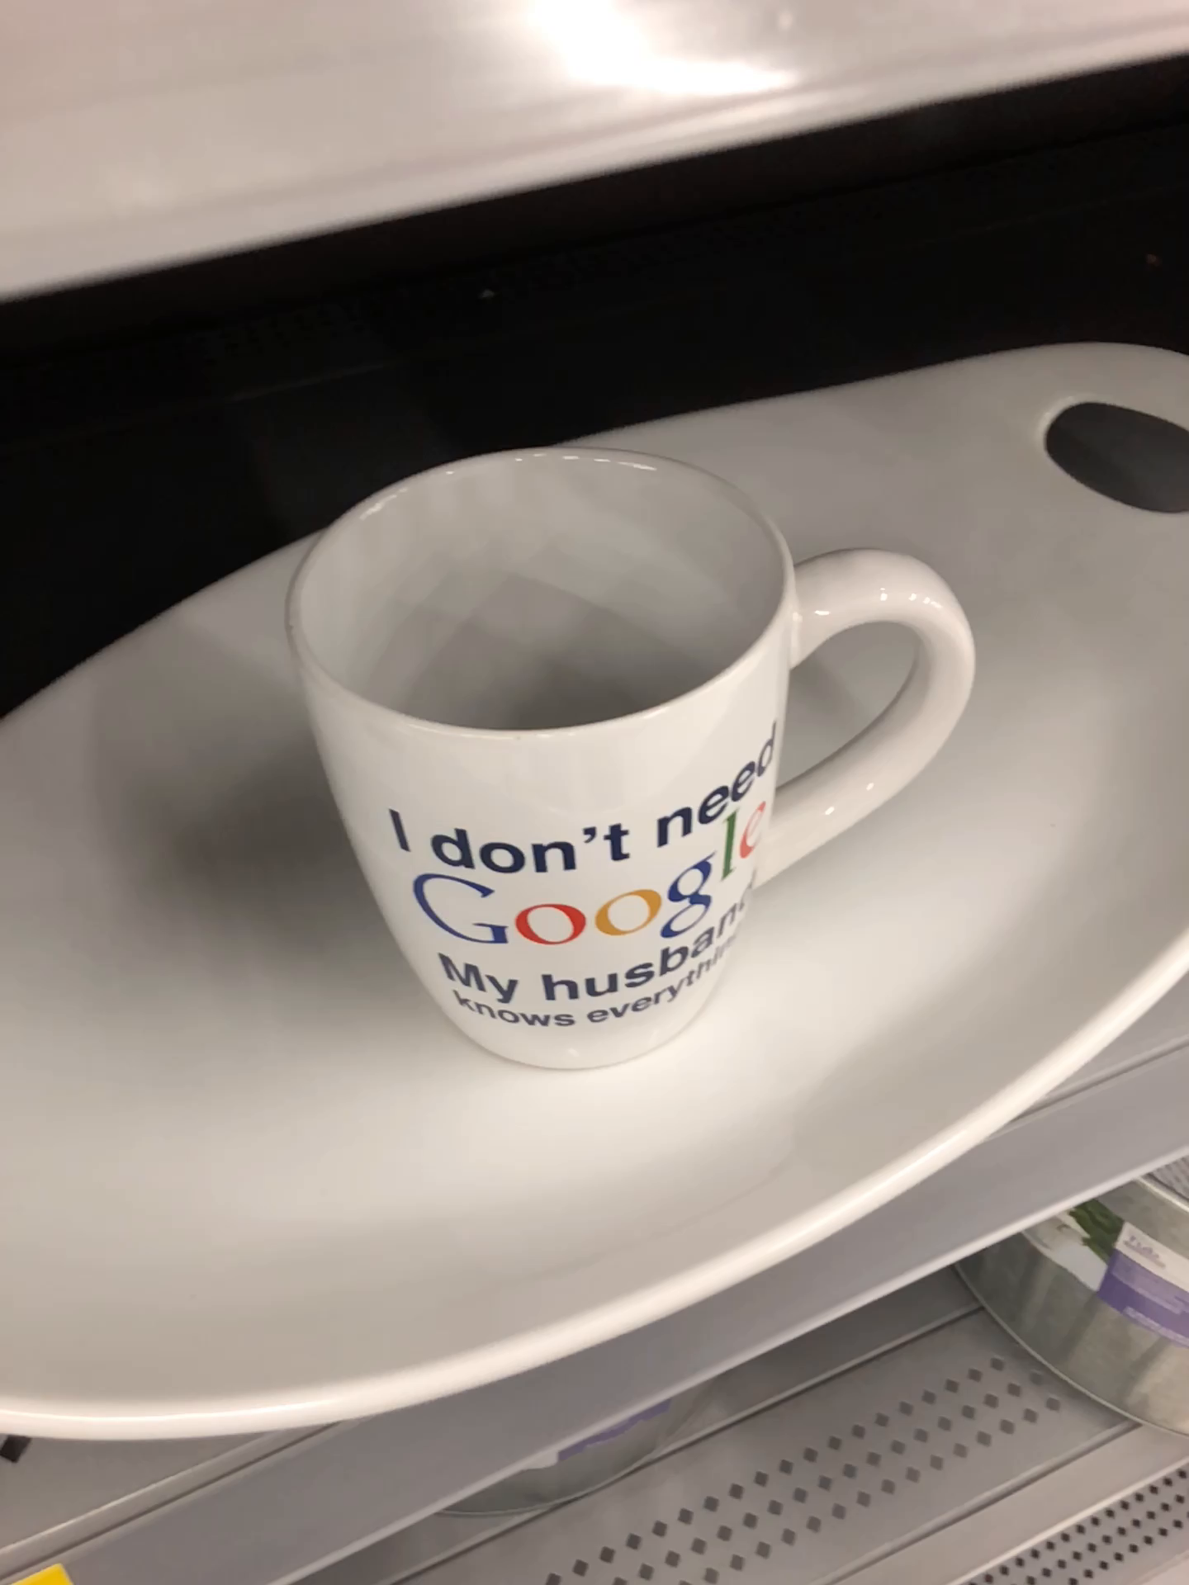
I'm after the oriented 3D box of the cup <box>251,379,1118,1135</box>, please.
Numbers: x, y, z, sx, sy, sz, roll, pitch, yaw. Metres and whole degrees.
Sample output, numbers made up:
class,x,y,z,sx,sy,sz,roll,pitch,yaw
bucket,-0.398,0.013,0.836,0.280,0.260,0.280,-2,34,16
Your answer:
class,x,y,z,sx,sy,sz,roll,pitch,yaw
cup,0.012,-0.011,0.311,0.154,0.108,0.104,-12,45,-9
